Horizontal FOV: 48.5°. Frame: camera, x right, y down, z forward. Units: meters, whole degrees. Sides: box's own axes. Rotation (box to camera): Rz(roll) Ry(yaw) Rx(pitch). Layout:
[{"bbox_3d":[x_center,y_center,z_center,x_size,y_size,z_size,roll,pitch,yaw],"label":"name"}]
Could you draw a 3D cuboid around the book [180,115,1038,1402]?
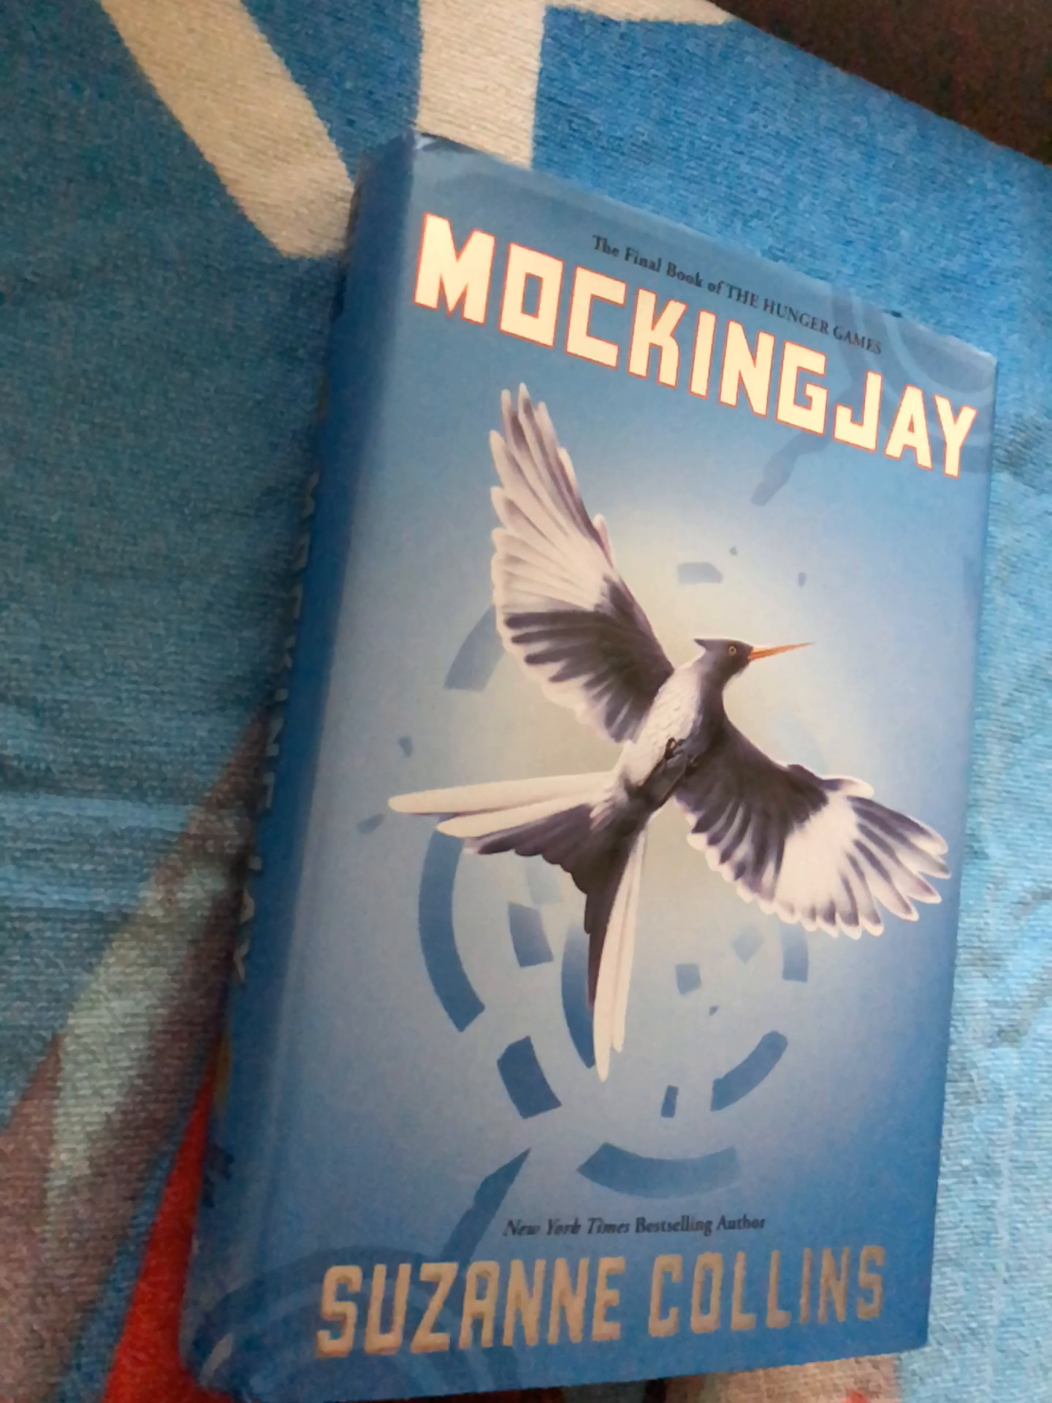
[{"bbox_3d":[0.024,0.016,0.222,0.140,0.040,0.200,10,82,-24],"label":"book"}]
